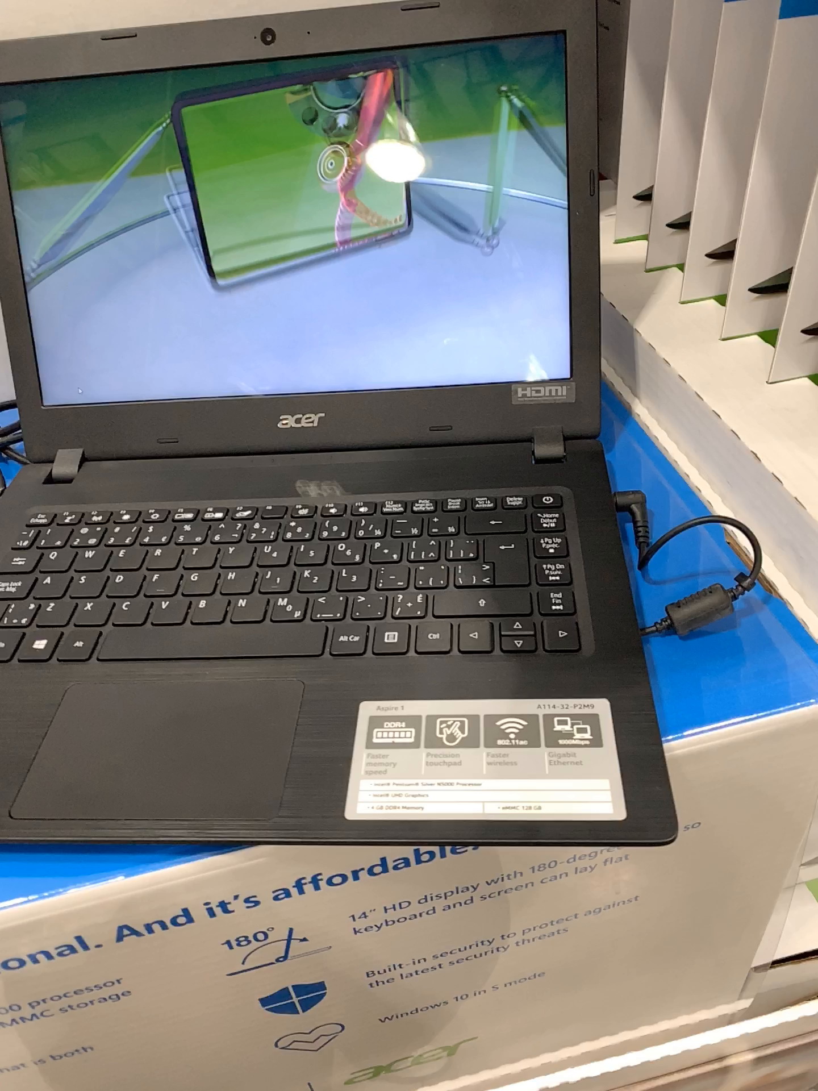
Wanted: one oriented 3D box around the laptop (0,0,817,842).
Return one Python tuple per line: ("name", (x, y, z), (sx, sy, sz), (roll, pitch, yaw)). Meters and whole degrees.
("laptop", (-0.069, -0.078, 0.349), (0.318, 0.186, 0.329), (-2, 41, 6))
